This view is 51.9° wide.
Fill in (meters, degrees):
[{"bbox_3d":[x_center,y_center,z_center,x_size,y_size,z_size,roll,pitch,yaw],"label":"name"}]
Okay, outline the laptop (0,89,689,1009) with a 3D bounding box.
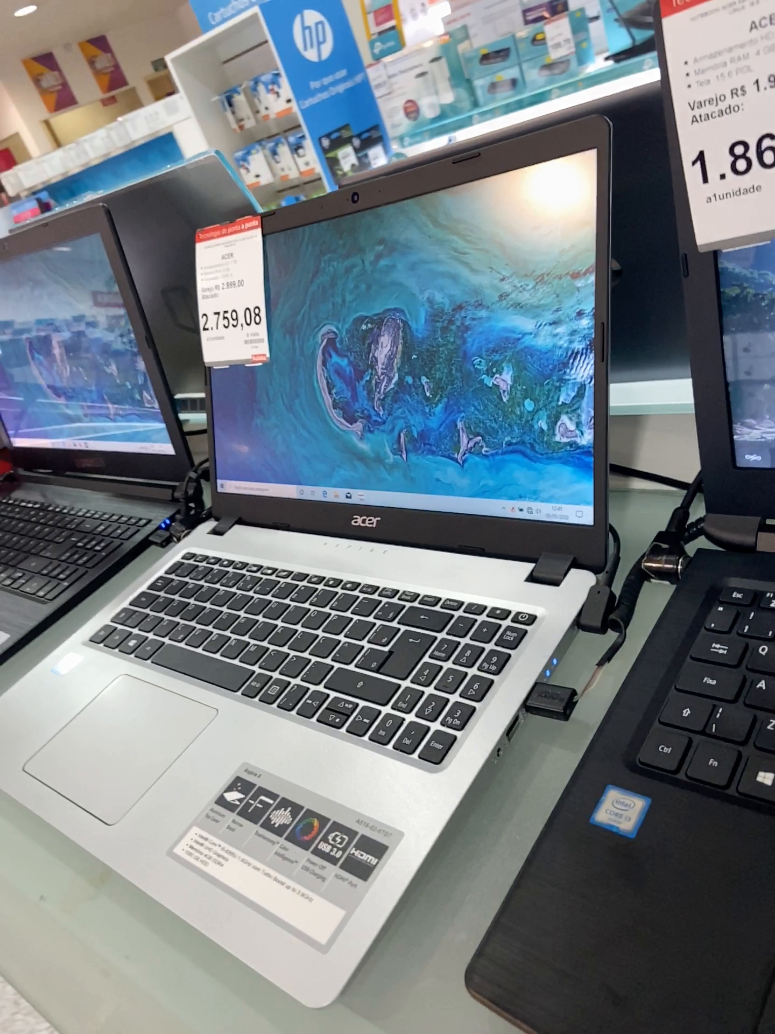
[{"bbox_3d":[-0.085,-0.029,0.452,0.351,0.198,0.363,4,40,42],"label":"laptop"}]
